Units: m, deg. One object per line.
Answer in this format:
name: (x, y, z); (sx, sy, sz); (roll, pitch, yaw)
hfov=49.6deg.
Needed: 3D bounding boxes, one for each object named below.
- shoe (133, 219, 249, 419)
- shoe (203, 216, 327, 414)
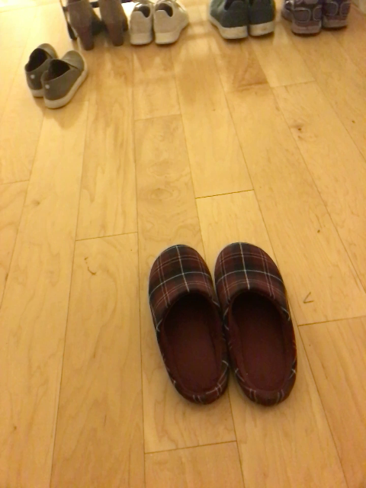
shoe: (0.002, 0.097, 0.602); (0.120, 0.070, 0.282); (-11, 50, -2)
shoe: (0.106, 0.090, 0.592); (0.120, 0.070, 0.282); (-7, 50, 2)
